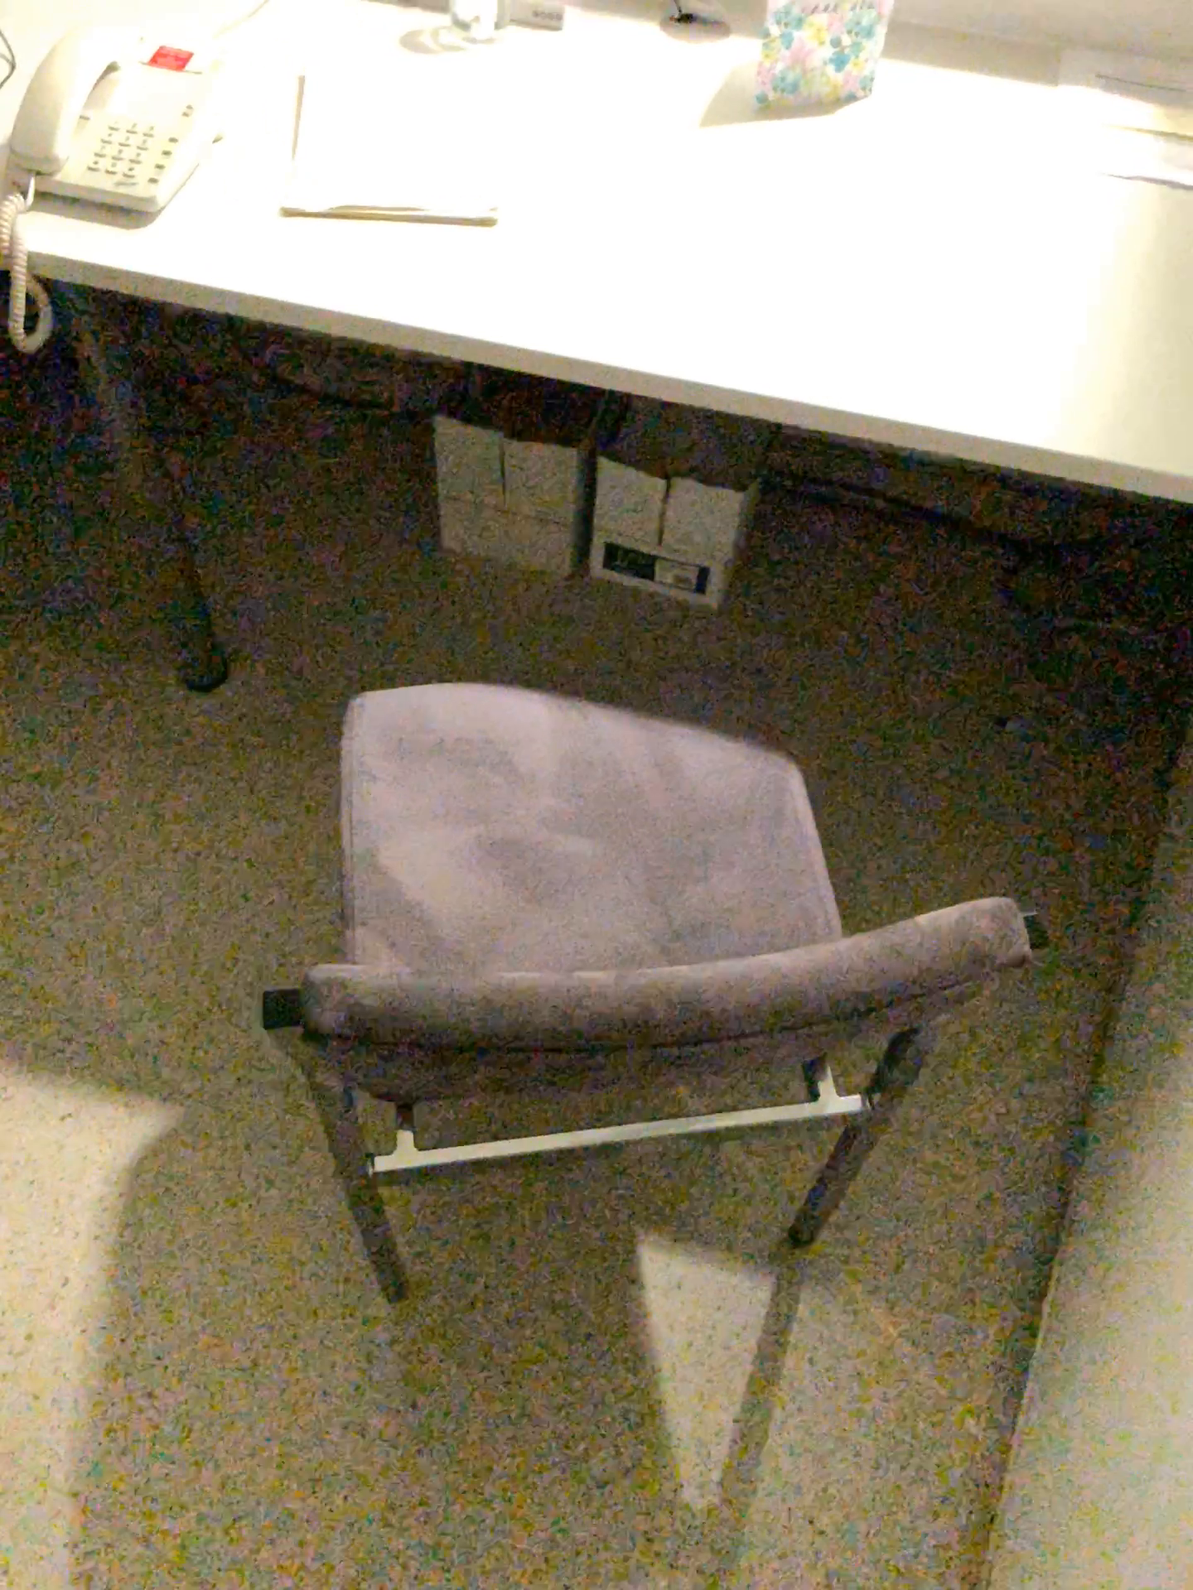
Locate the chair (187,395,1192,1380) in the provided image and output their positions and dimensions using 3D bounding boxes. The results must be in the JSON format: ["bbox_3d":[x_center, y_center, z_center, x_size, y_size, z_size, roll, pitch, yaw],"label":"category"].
[{"bbox_3d":[0.014,0.116,1.072,0.540,0.695,0.544,-3,53,-7],"label":"chair"}]
